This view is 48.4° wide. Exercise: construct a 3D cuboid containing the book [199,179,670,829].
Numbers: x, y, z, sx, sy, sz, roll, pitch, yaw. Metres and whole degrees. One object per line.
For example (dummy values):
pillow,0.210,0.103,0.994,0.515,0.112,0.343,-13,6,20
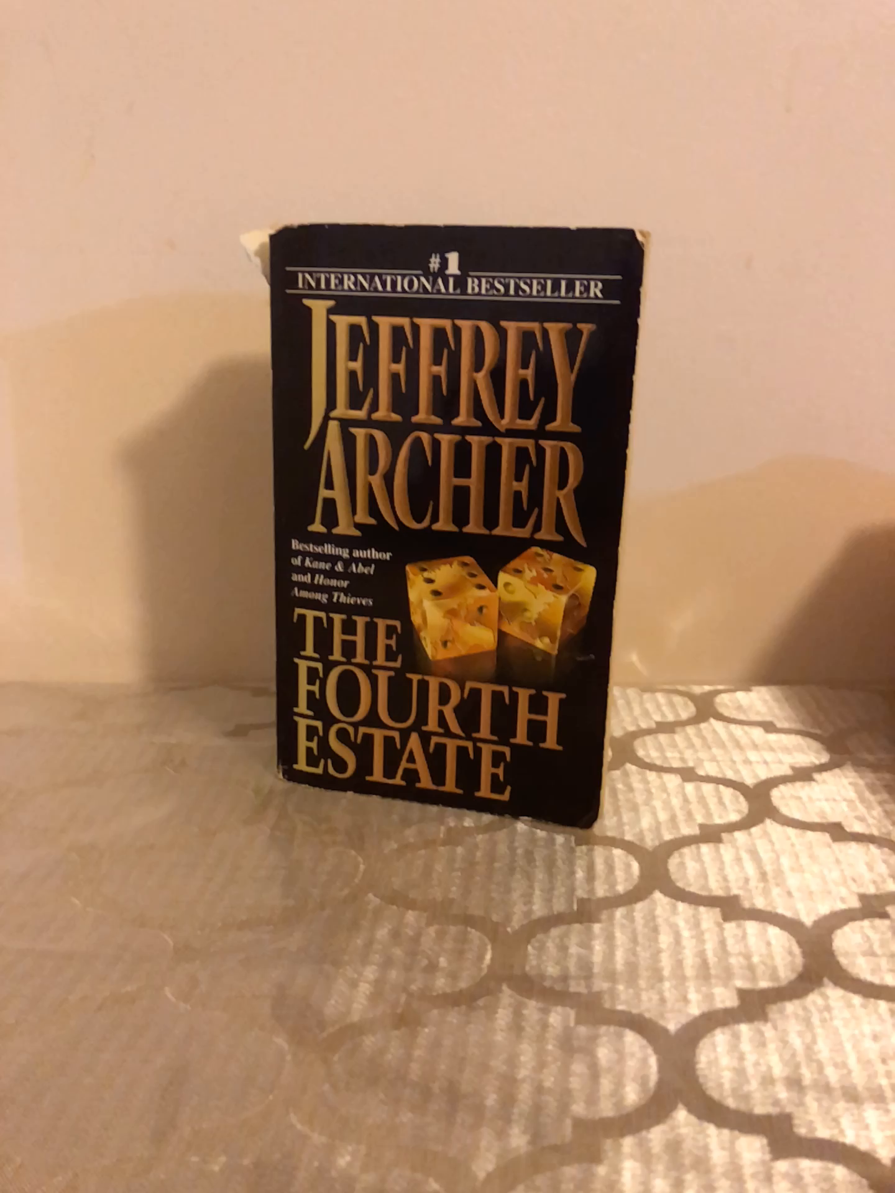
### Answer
book,-0.002,-0.030,0.300,0.120,0.169,0.060,5,15,15
